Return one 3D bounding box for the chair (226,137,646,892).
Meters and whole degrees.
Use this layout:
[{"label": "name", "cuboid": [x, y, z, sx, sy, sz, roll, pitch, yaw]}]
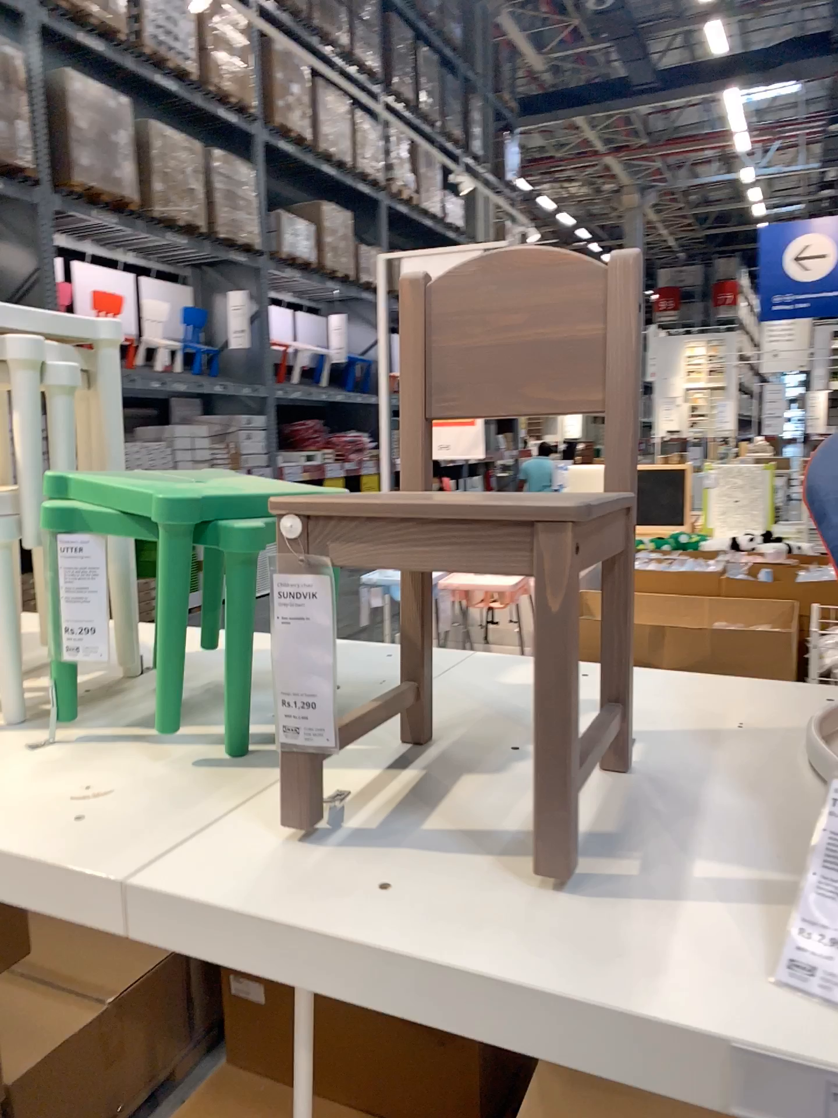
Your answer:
[{"label": "chair", "cuboid": [0.043, -0.042, 0.785, 0.270, 0.519, 0.320, 2, 8, 23]}]
